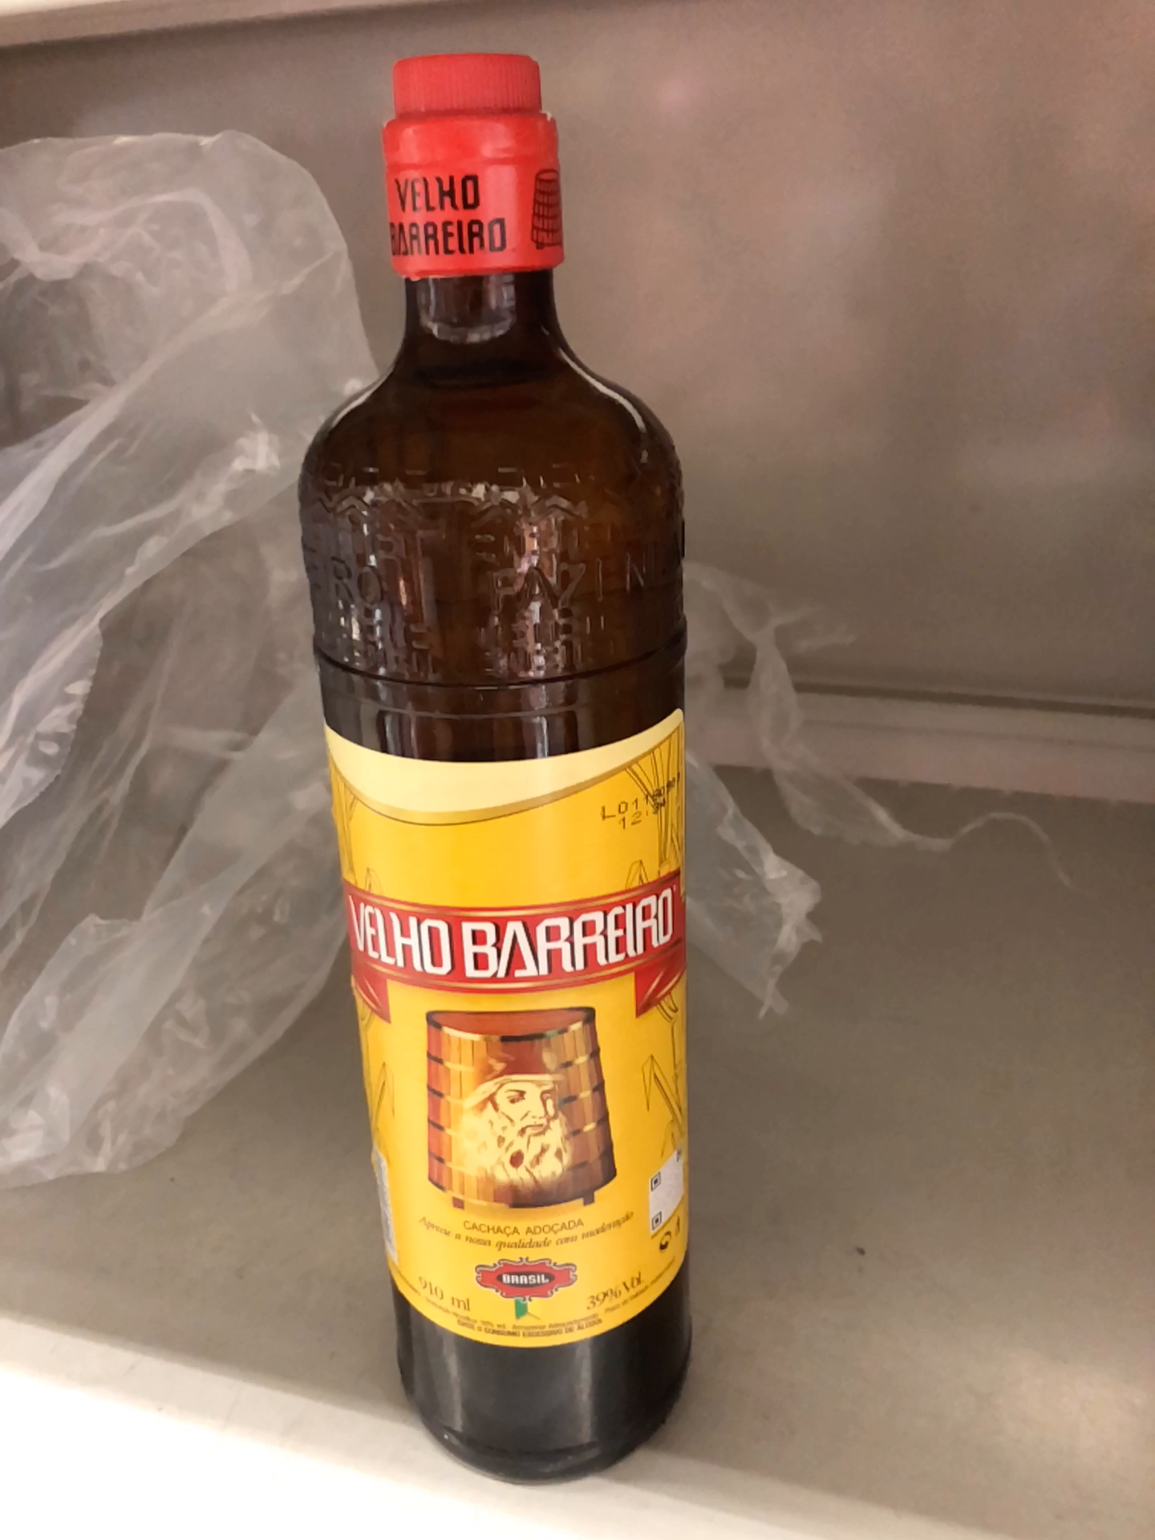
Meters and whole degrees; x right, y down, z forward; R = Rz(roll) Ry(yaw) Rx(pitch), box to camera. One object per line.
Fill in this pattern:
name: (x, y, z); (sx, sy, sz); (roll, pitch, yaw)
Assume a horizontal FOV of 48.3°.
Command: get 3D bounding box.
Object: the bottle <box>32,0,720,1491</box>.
bottle: (-0.021, 0.014, 0.276); (0.090, 0.298, 0.081); (-3, 24, 2)
